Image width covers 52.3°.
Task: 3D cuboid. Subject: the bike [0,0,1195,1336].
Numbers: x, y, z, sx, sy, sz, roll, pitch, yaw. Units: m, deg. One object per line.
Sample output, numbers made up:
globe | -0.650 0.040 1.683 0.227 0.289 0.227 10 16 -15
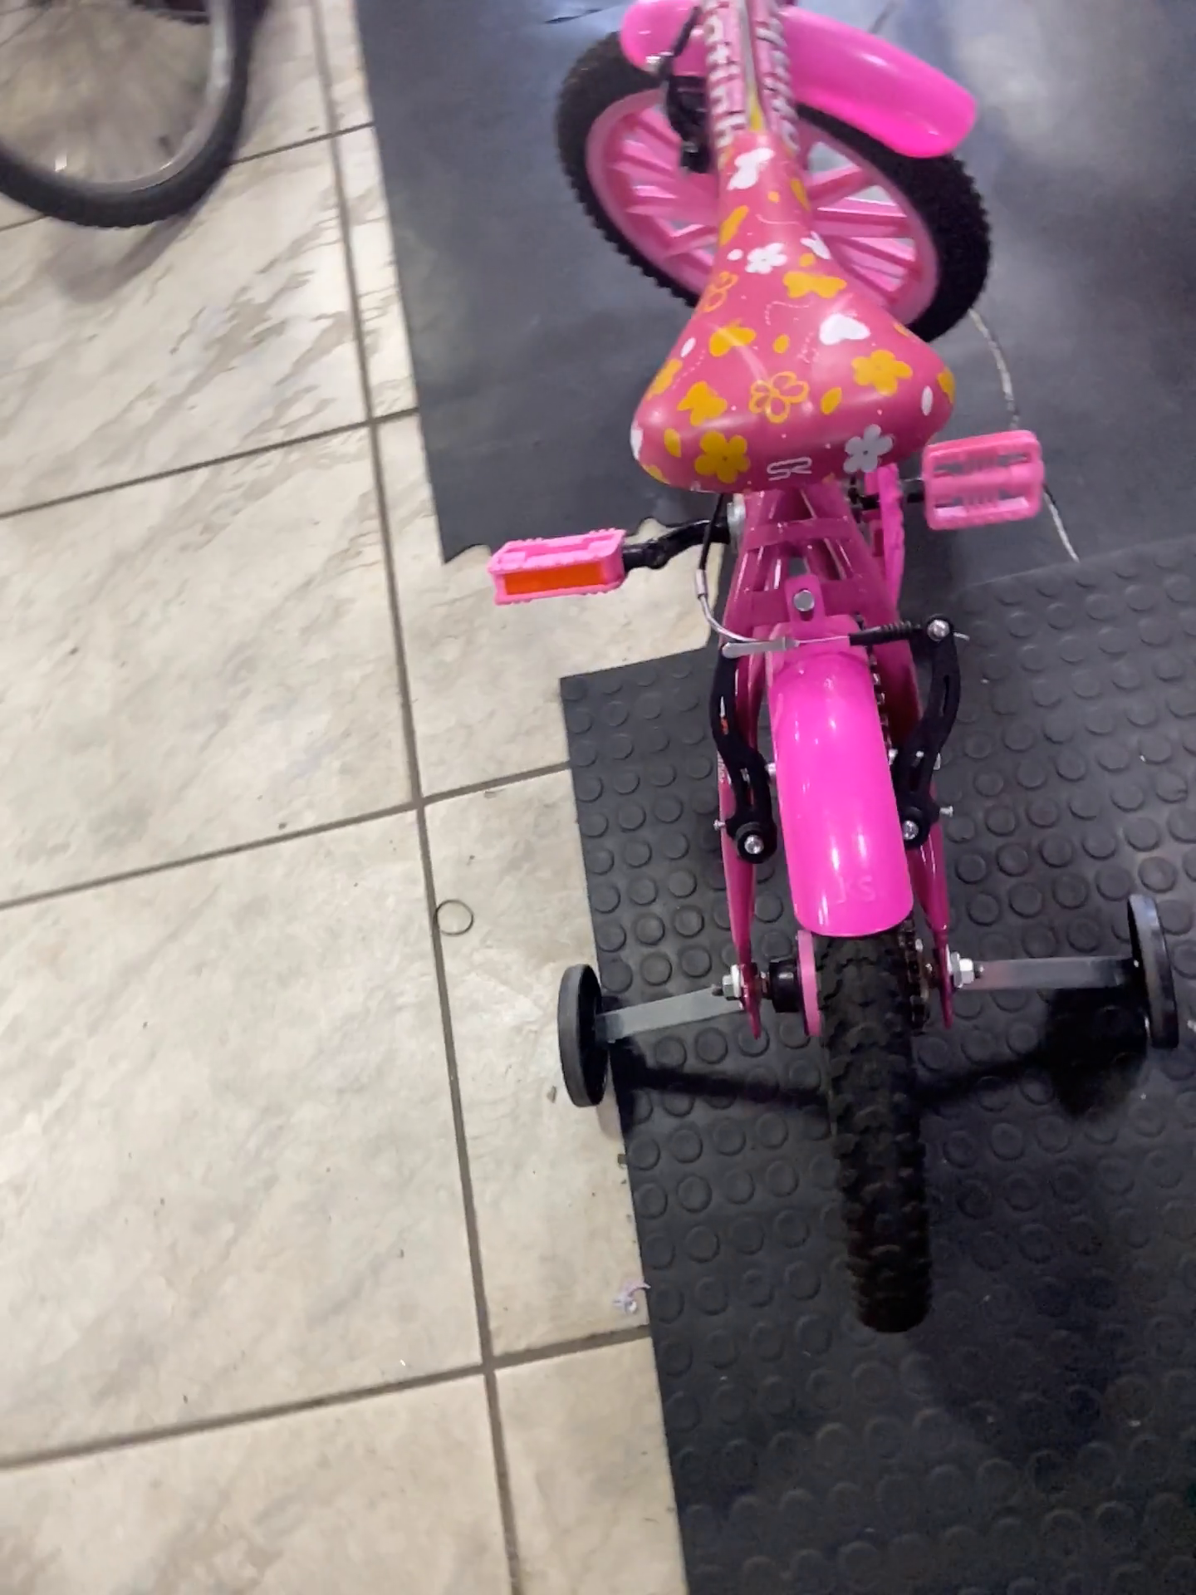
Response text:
bike | 0.039 -0.222 0.689 0.465 0.791 0.941 -13 62 6
